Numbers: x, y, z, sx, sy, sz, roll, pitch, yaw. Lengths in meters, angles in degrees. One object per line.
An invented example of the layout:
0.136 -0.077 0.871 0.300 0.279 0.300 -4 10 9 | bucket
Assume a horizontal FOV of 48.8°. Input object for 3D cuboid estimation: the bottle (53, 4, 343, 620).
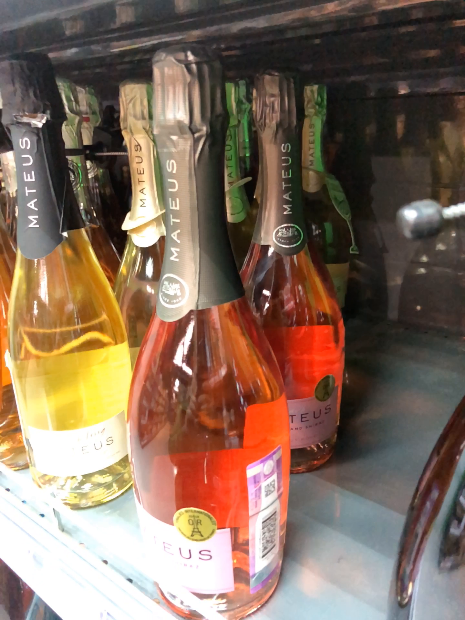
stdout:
-0.009 0.024 0.289 0.100 0.319 0.090 12 24 37 | bottle
